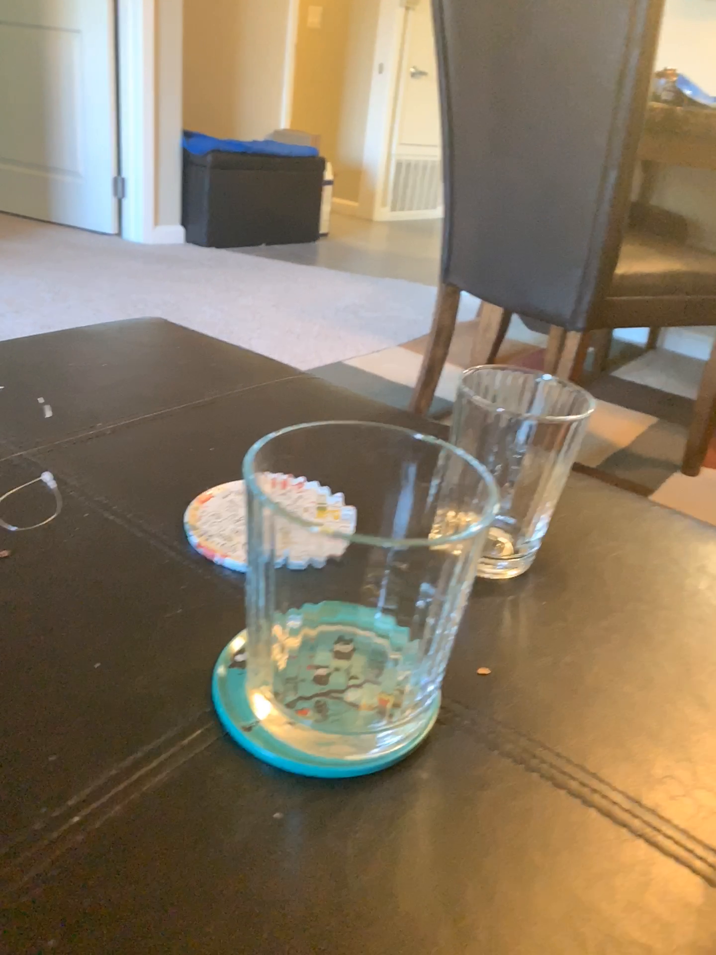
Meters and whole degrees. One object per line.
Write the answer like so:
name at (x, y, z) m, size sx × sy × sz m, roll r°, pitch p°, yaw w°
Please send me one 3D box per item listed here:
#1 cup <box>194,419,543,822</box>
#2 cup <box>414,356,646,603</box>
cup at (-0.004, 0.040, 0.249) m, size 0.080 × 0.089 × 0.080 m, roll 6°, pitch 27°, yaw -3°
cup at (0.077, -0.003, 0.352) m, size 0.060 × 0.089 × 0.070 m, roll -7°, pitch 30°, yaw -27°
